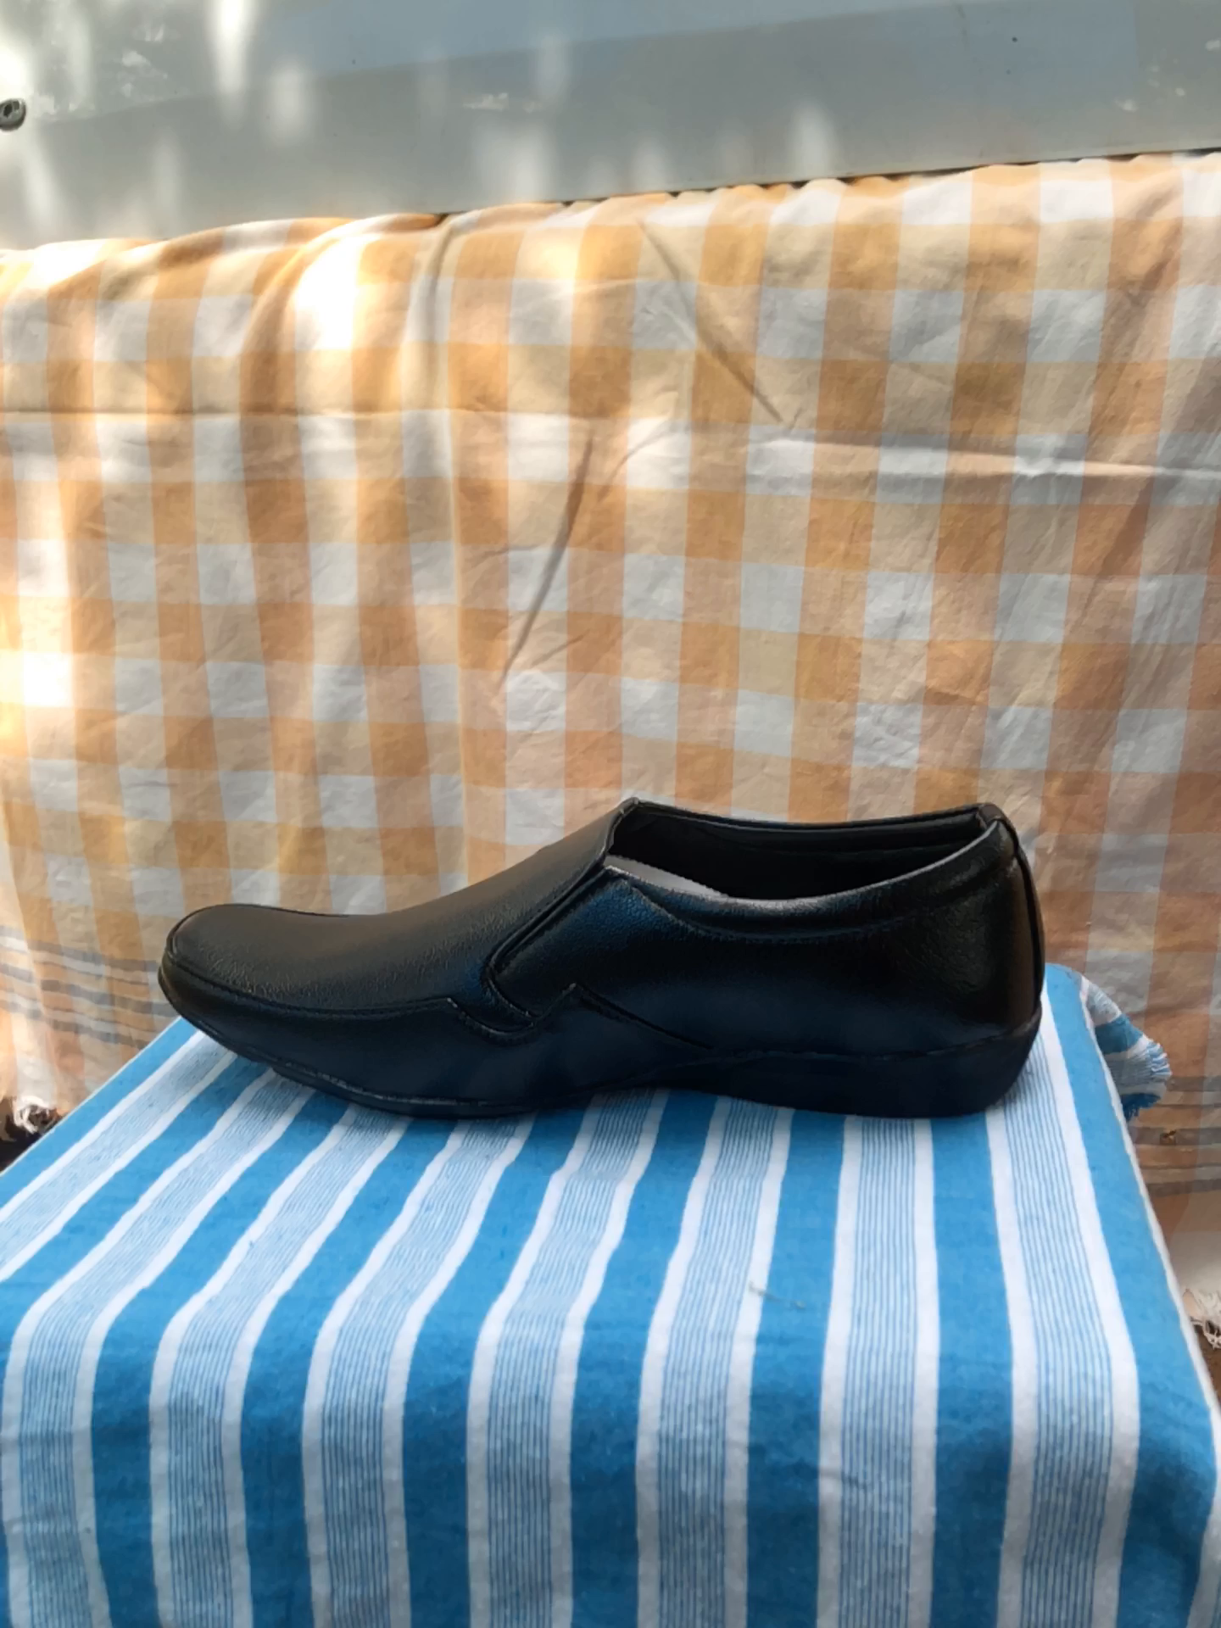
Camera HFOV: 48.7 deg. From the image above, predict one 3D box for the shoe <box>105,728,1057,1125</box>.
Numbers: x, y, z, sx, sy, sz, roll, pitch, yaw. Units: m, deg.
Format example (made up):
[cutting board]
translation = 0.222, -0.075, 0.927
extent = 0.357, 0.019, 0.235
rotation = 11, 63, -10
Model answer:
[shoe]
translation = -0.007, 0.037, 0.485
extent = 0.300, 0.110, 0.100
rotation = -1, 16, 5
